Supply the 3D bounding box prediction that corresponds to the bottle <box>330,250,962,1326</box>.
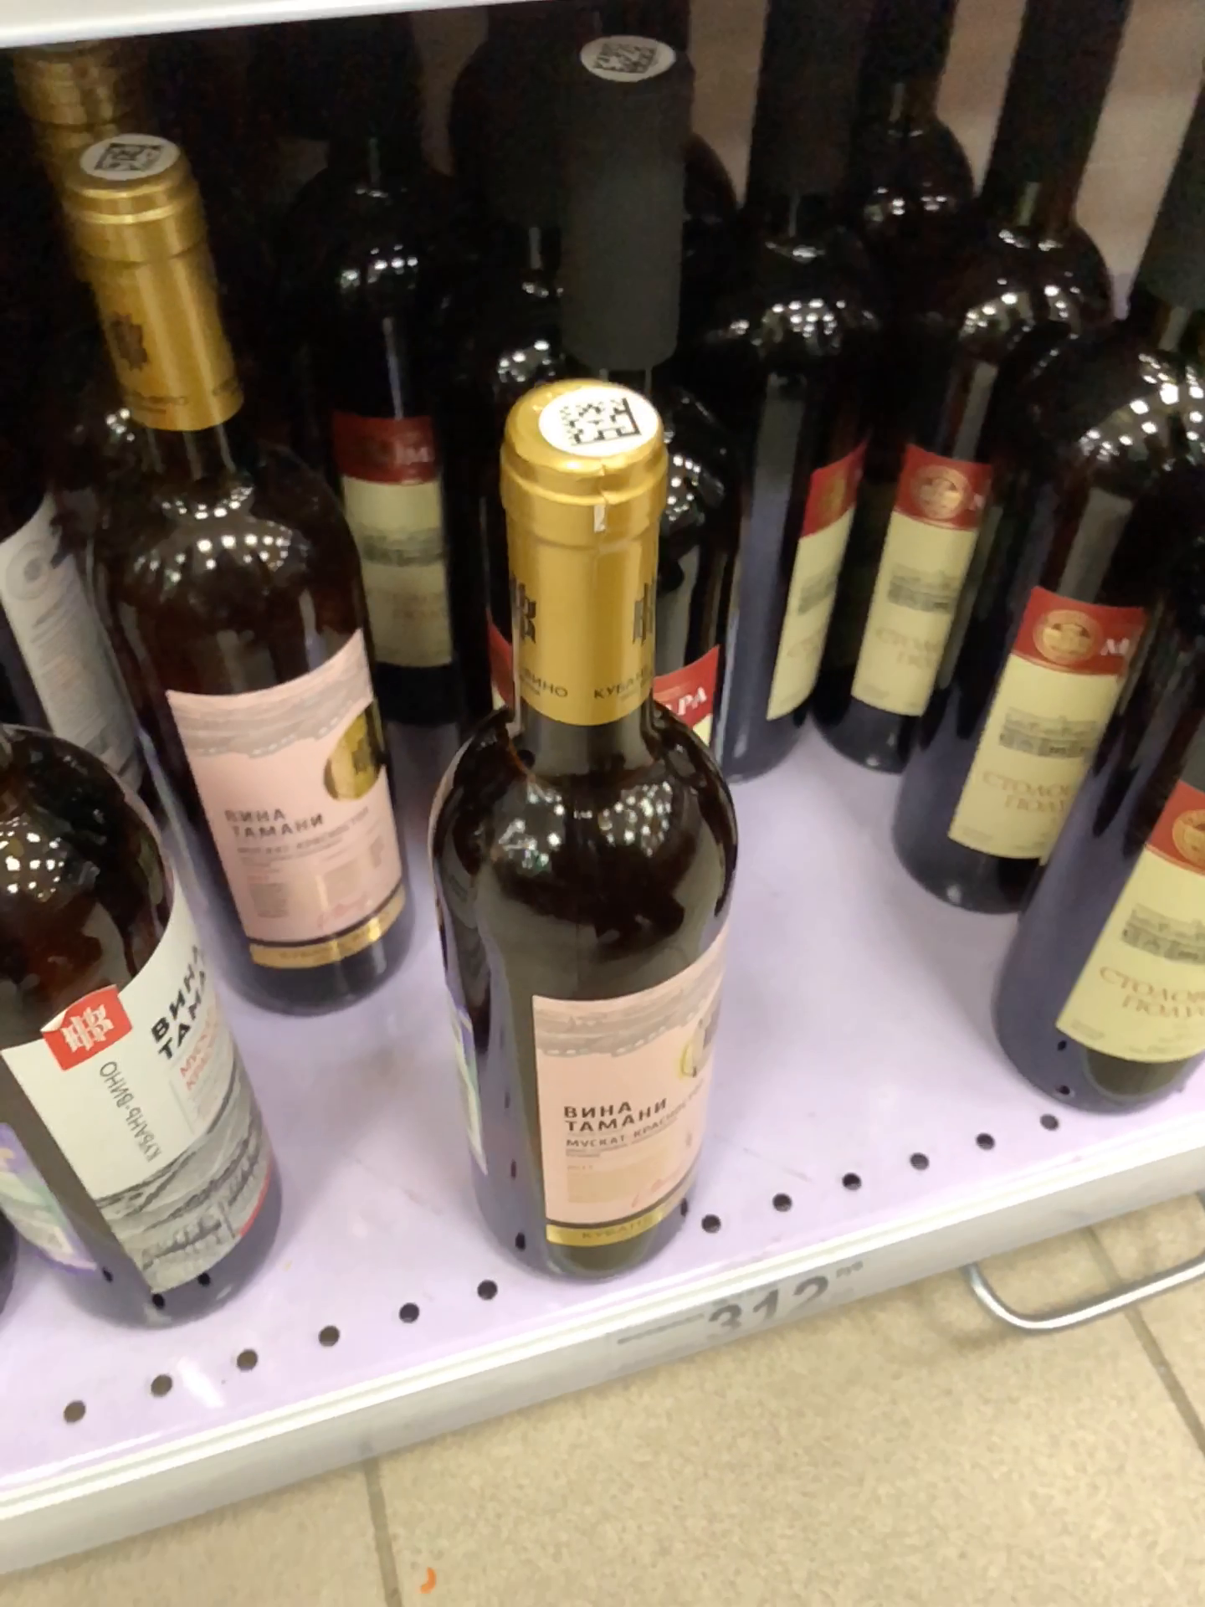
[{"bbox_3d":[0.001,0.027,0.329,0.080,0.290,0.070,-20,53,-18],"label":"bottle"}]
